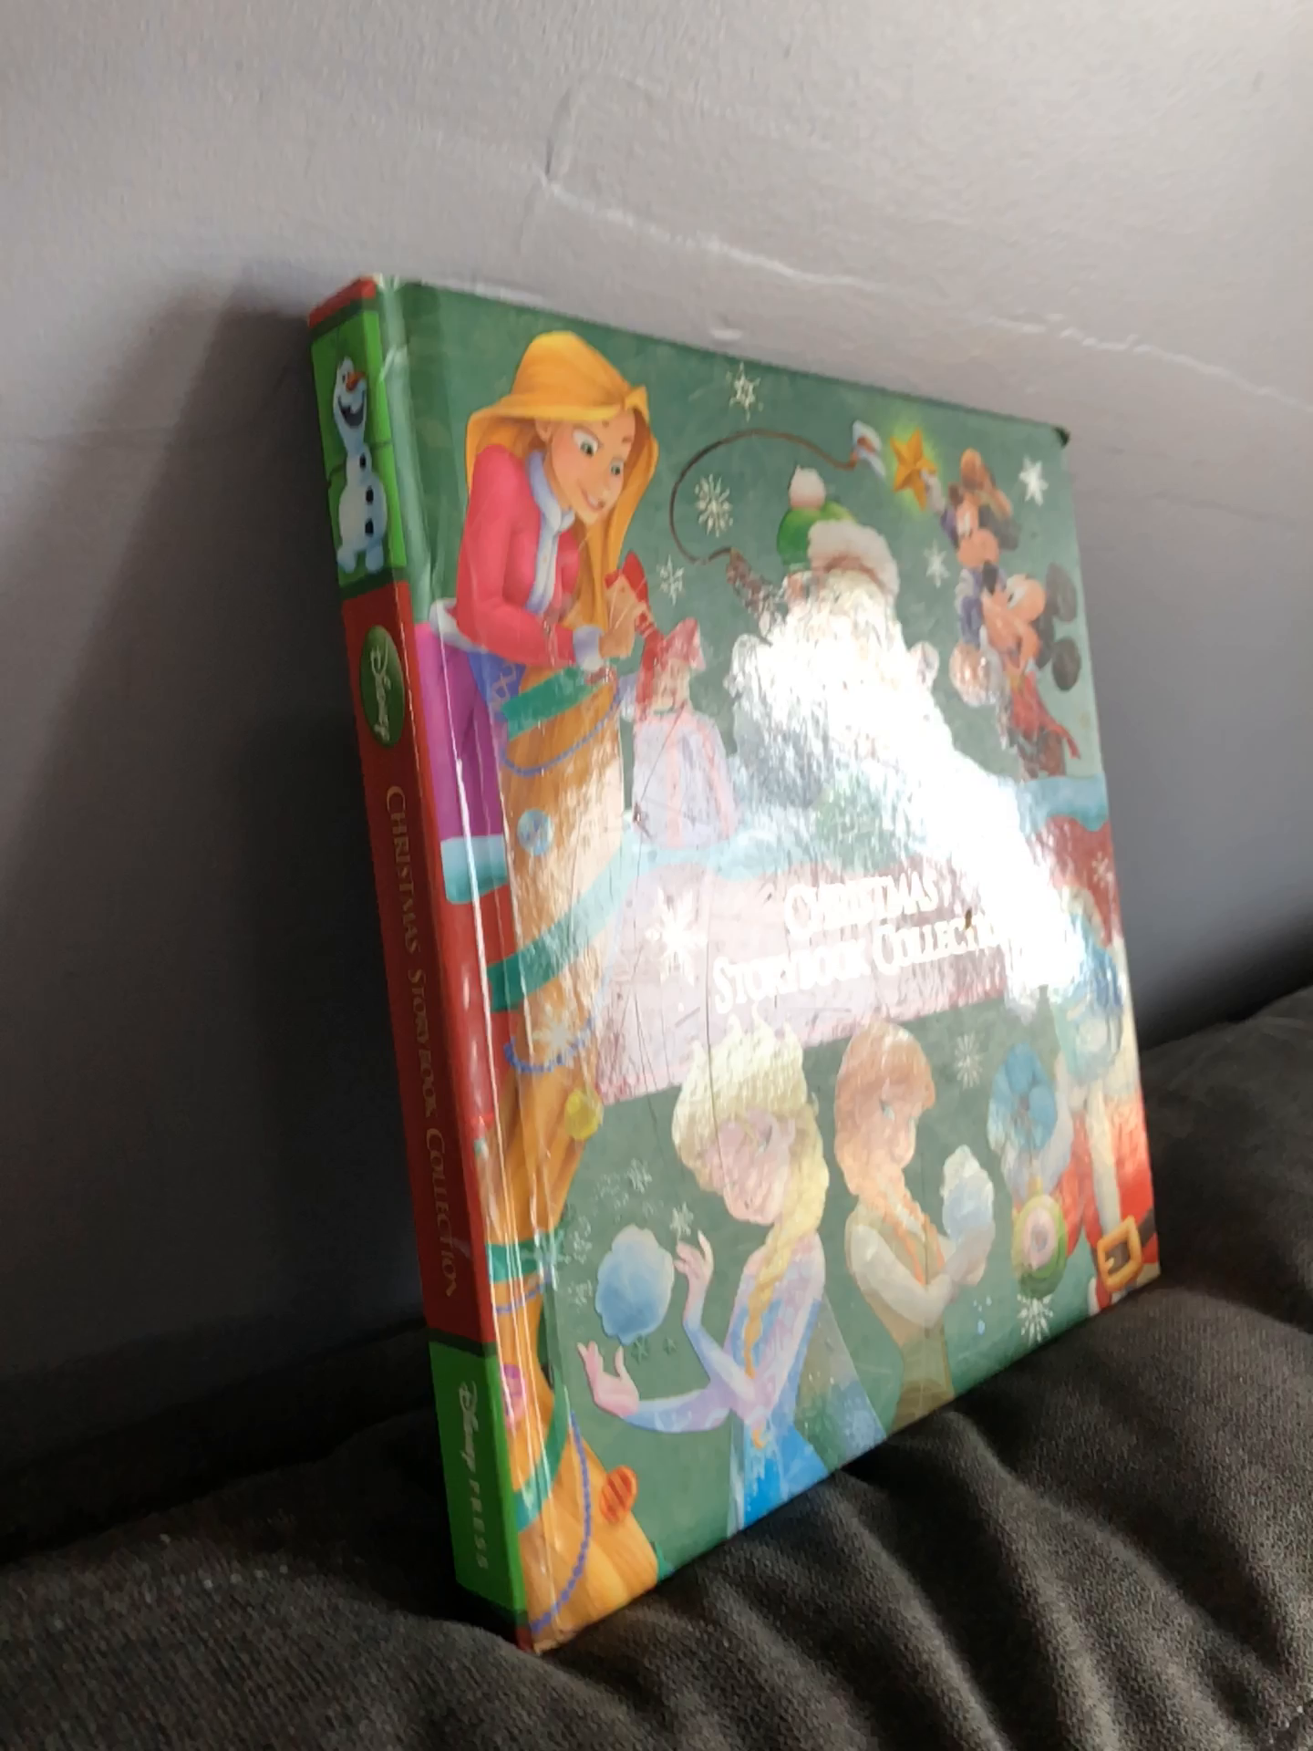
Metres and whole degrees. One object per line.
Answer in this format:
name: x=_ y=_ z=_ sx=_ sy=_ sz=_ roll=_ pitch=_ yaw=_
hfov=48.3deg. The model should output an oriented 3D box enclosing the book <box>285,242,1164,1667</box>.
book: x=0.037 y=0.004 z=0.335 sx=0.227 sy=0.238 sz=0.033 roll=-8 pitch=3 yaw=-45
